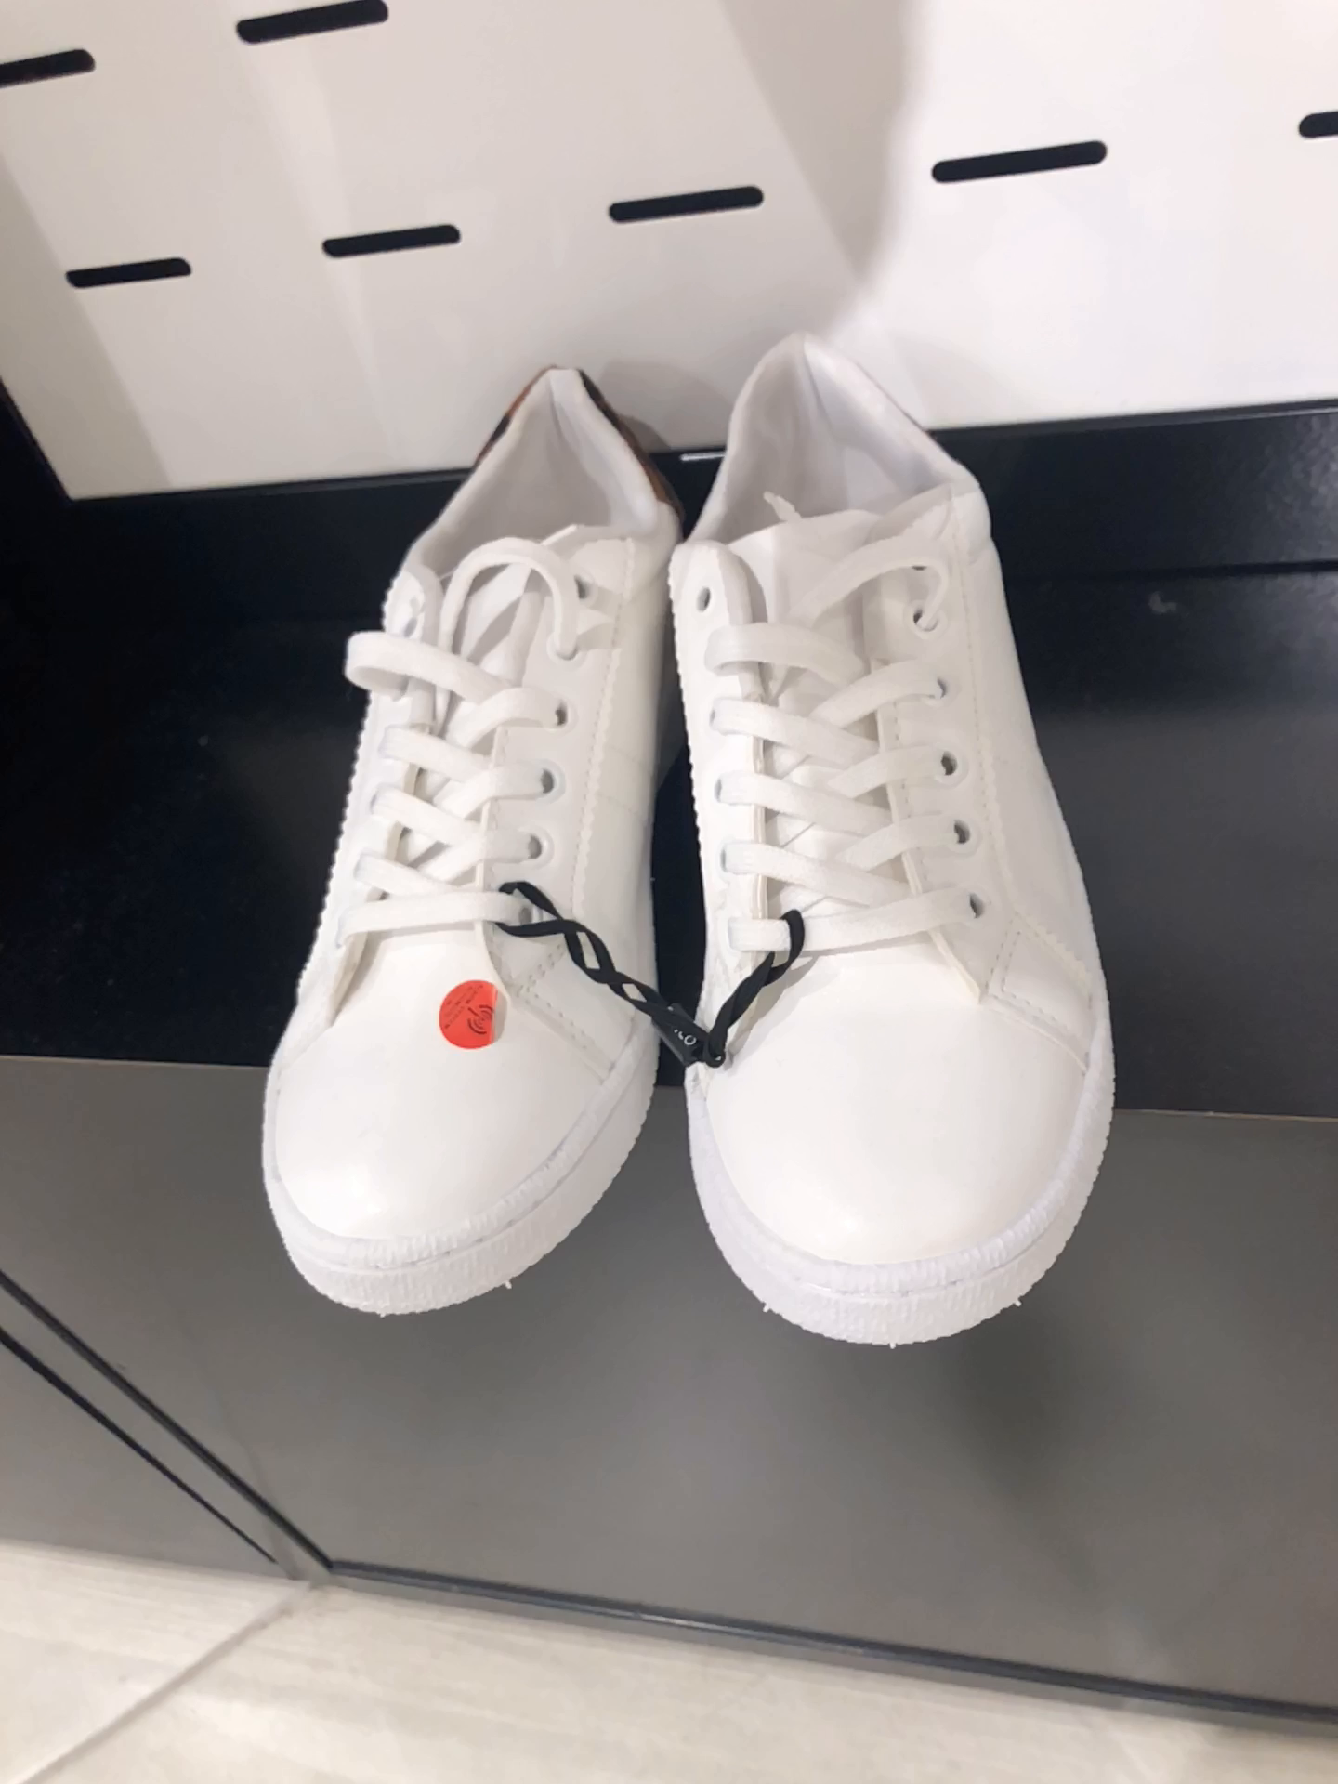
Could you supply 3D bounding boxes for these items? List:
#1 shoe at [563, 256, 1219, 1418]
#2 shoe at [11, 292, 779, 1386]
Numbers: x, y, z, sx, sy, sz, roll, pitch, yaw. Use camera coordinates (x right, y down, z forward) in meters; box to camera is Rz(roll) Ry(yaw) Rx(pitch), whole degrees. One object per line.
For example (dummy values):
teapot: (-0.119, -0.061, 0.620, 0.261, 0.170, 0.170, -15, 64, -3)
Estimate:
shoe: (0.044, -0.019, 0.311, 0.090, 0.099, 0.221, -6, 52, 11)
shoe: (-0.037, -0.020, 0.331, 0.090, 0.099, 0.221, -2, 53, 15)
